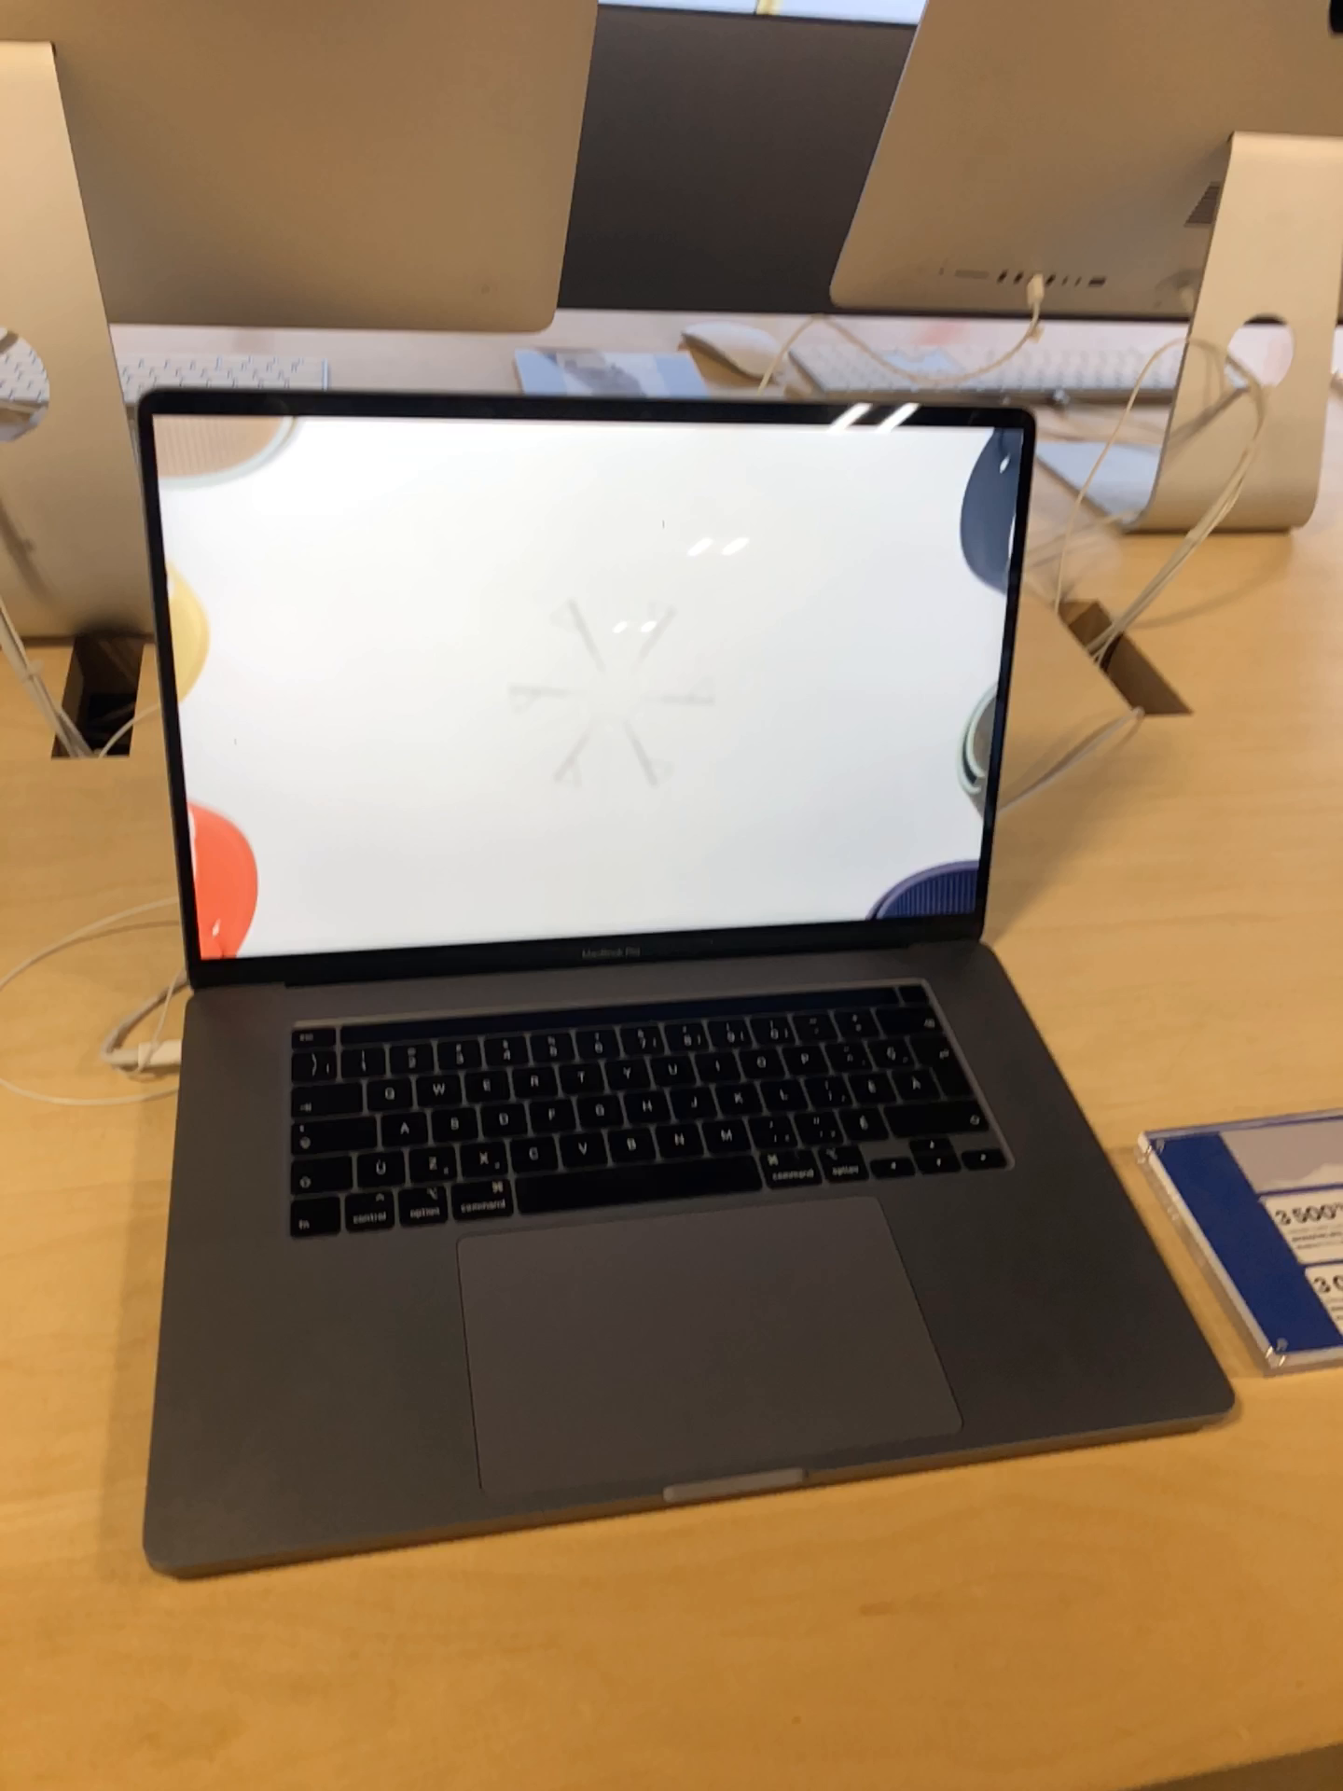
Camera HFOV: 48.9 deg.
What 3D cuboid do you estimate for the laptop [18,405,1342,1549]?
[{"bbox_3d":[-0.001,0.000,0.525,0.352,0.230,0.316,-3,39,-12],"label":"laptop"}]
